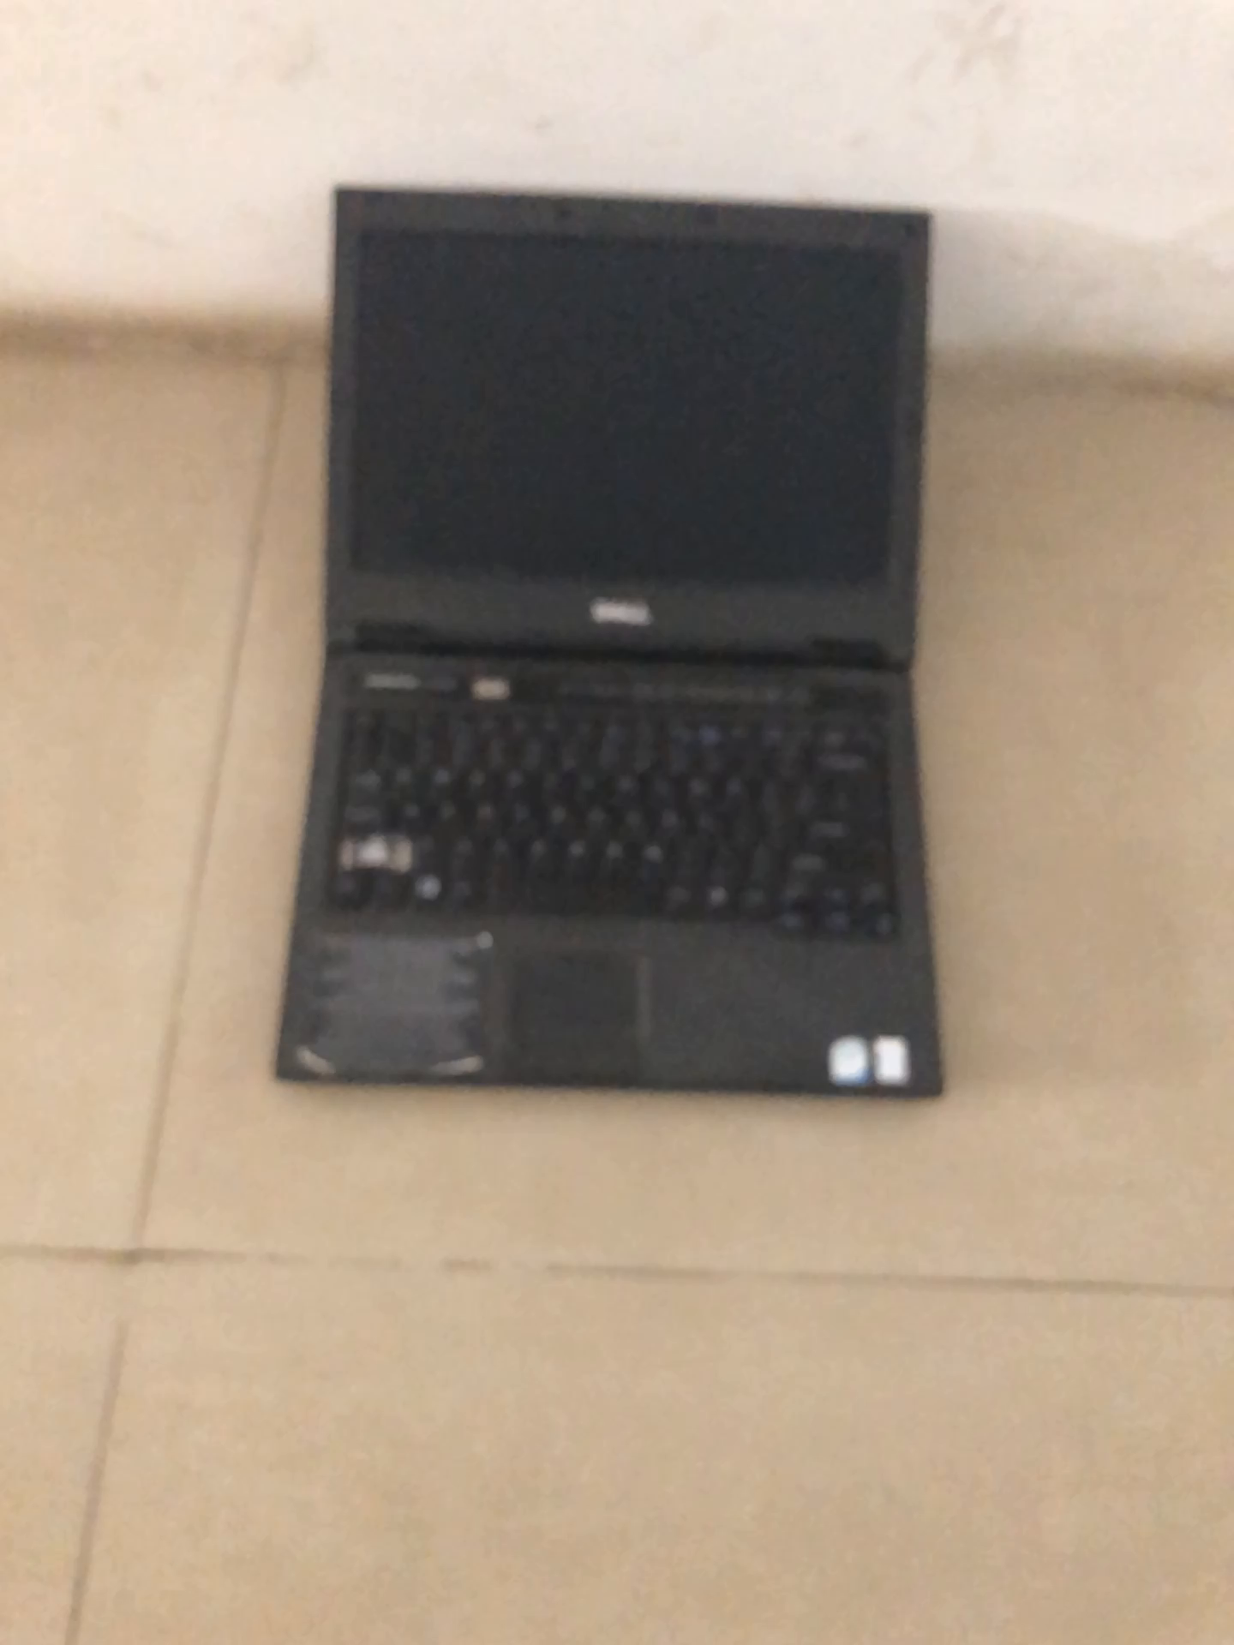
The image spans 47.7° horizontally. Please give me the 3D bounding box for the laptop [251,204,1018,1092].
[{"bbox_3d":[0.010,-0.098,0.686,0.299,0.114,0.433,1,65,0],"label":"laptop"}]
